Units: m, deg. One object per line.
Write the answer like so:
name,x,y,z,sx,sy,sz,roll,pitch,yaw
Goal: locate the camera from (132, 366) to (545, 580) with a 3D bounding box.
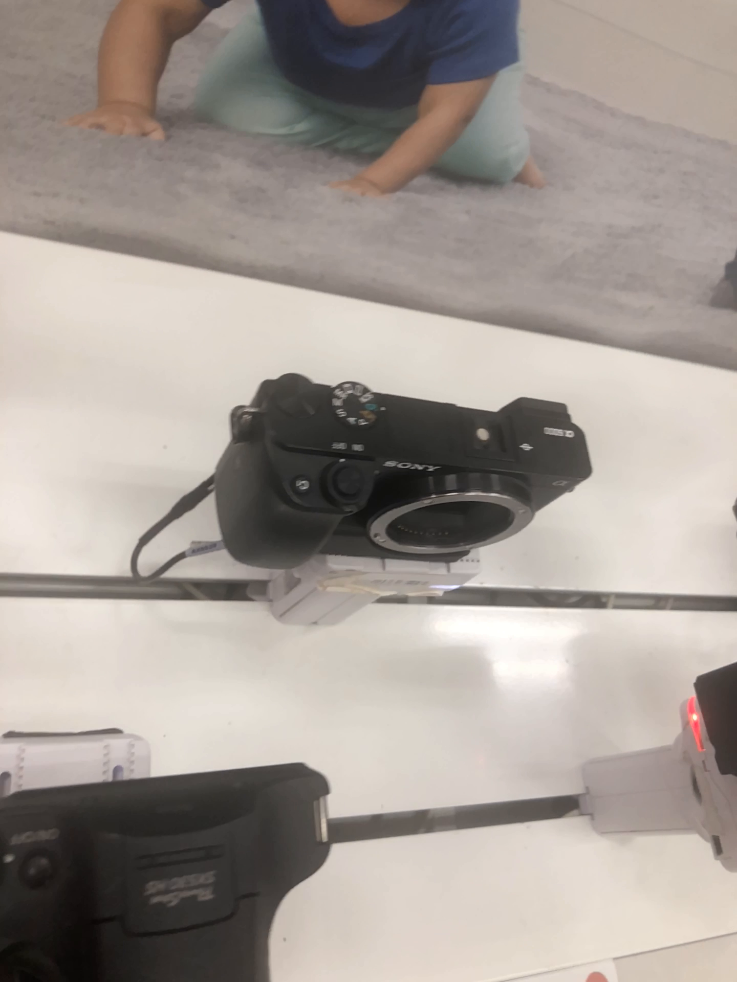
camera,-0.013,-0.001,0.282,0.121,0.070,0.040,3,63,-26
